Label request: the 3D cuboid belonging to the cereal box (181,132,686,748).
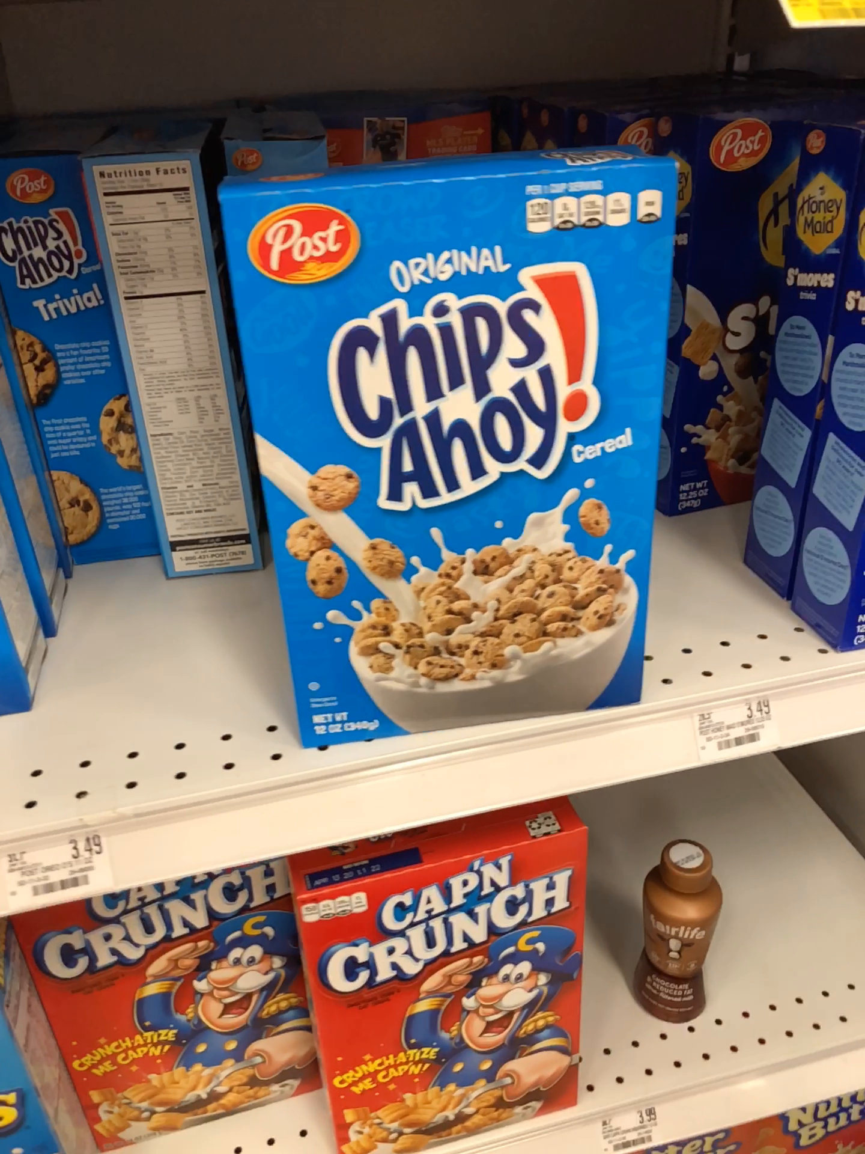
[{"bbox_3d":[0.003,-0.060,0.452,0.190,0.259,0.080,-6,29,-6],"label":"cereal box"}]
